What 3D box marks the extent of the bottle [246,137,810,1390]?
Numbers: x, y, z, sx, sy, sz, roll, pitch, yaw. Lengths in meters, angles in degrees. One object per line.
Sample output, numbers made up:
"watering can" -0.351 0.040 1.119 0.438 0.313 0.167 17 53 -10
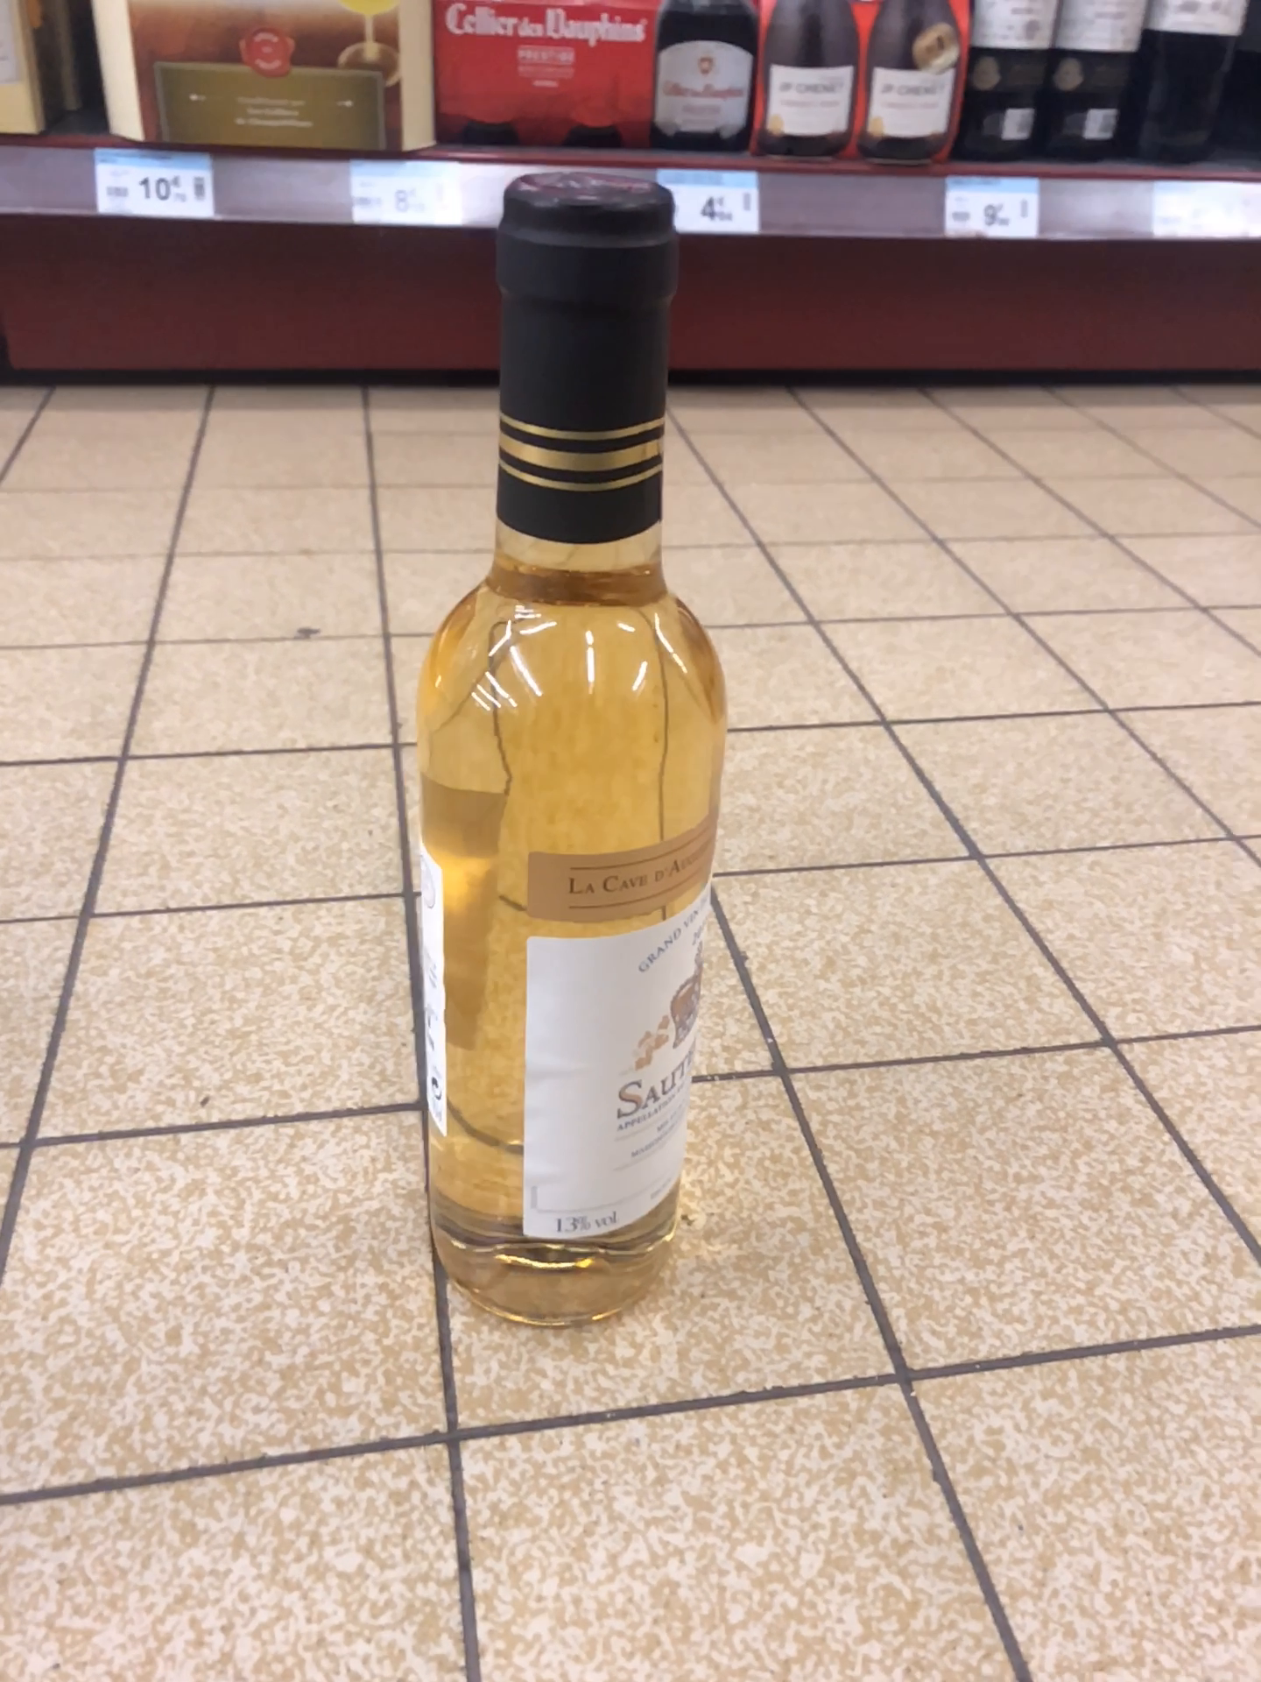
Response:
"bottle" -0.018 -0.004 0.282 0.070 0.239 0.070 2 32 -2
